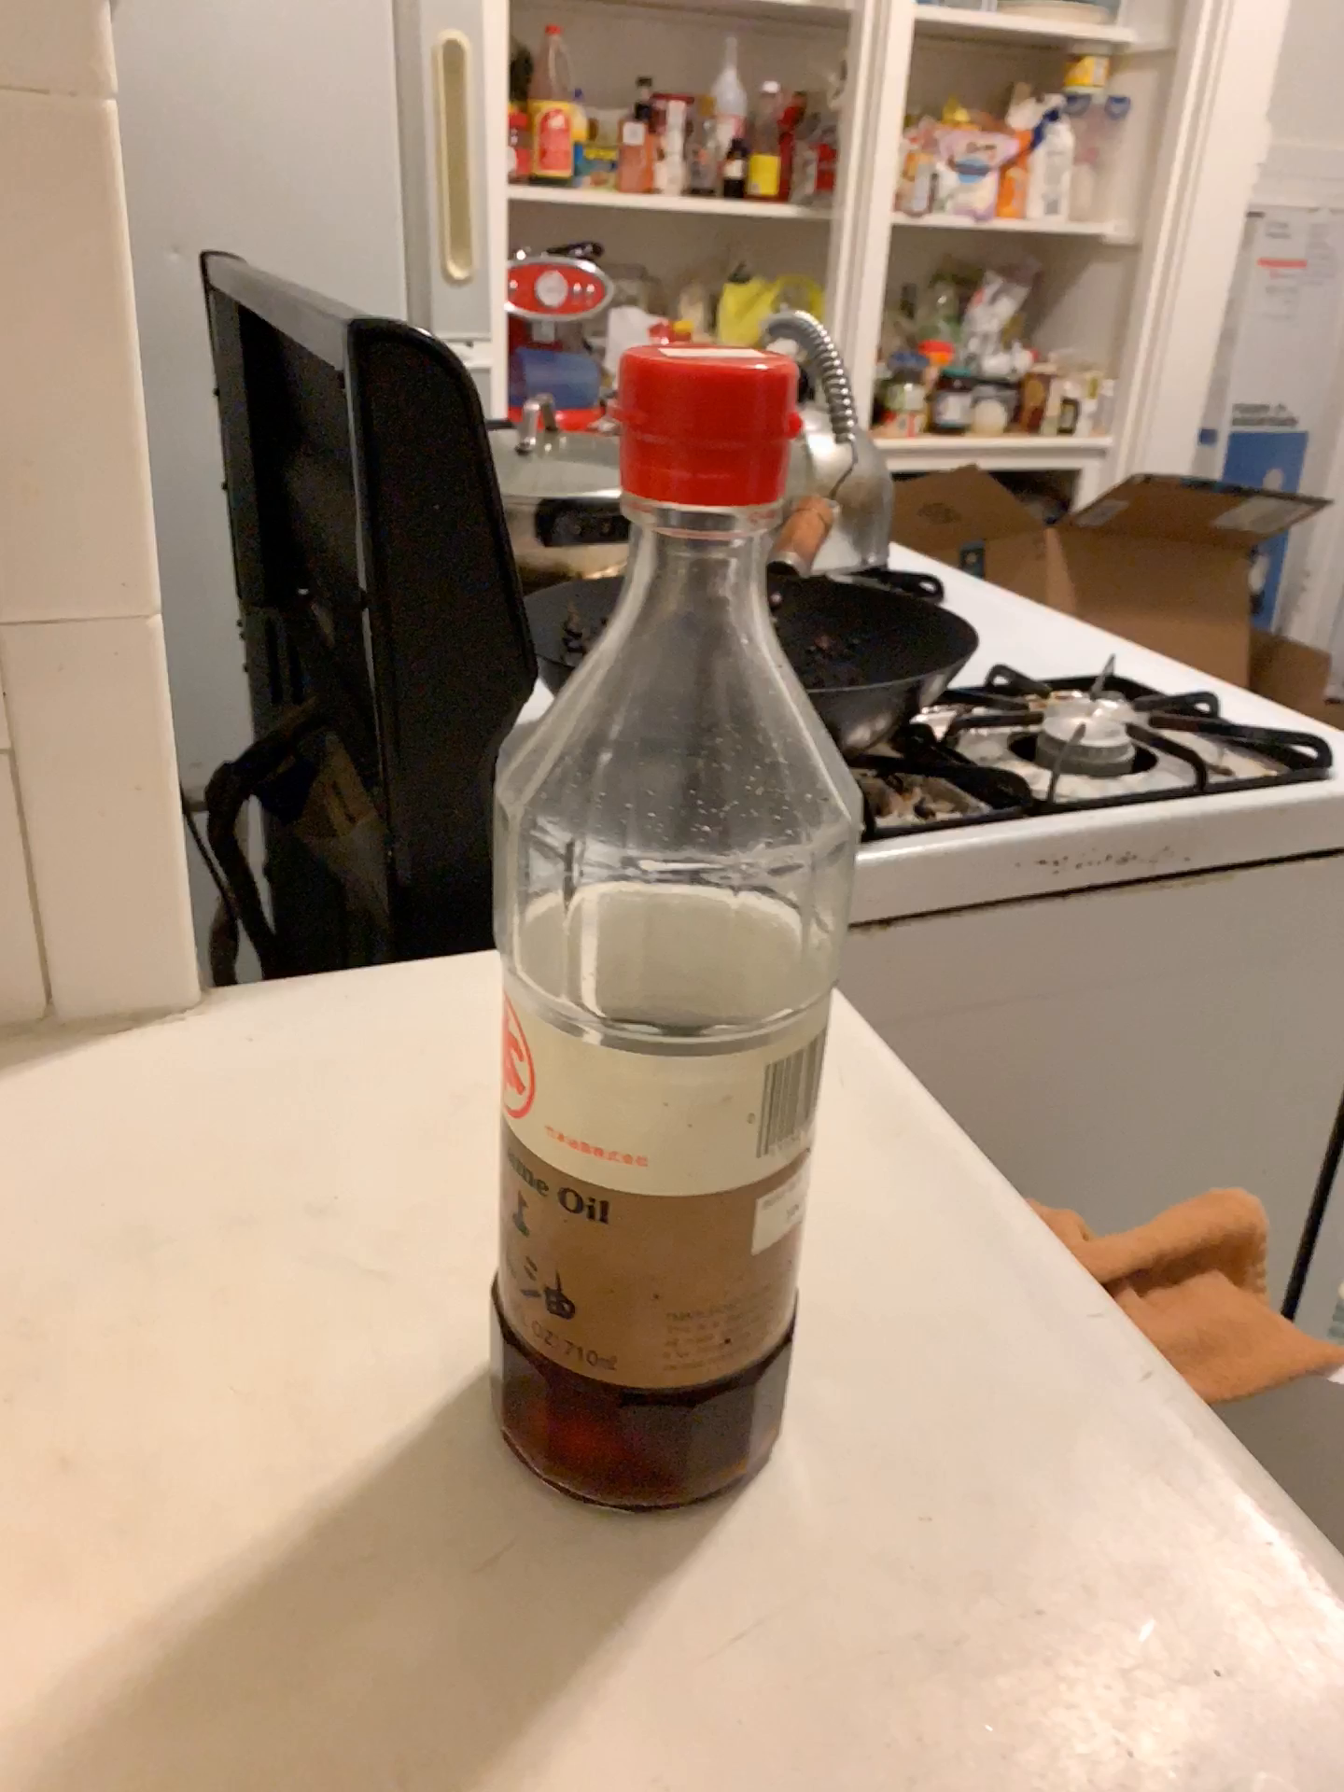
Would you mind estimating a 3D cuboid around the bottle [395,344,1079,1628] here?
[{"bbox_3d":[0.001,0.021,0.309,0.090,0.259,0.090,3,26,-2],"label":"bottle"}]
